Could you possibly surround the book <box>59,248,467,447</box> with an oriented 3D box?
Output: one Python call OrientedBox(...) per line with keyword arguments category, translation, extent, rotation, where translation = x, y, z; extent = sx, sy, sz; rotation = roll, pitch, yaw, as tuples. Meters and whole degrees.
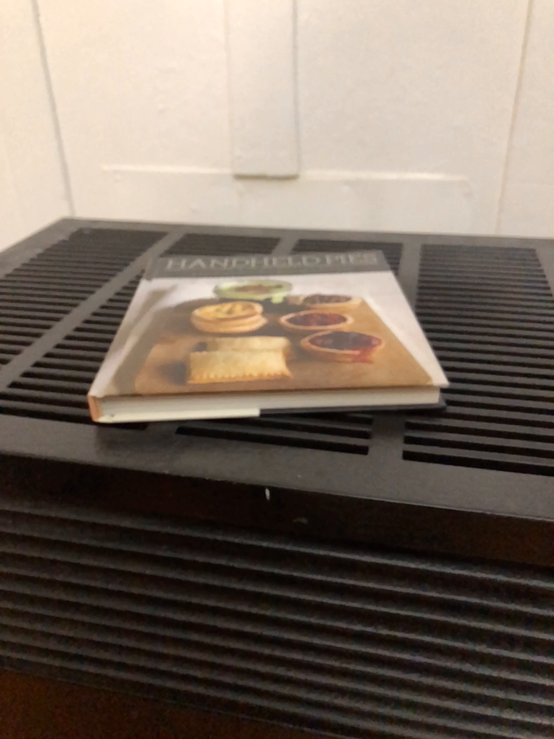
OrientedBox(category="book", translation=(-0.009, -0.030, 0.410), extent=(0.200, 0.020, 0.231), rotation=(-3, 28, 0))
